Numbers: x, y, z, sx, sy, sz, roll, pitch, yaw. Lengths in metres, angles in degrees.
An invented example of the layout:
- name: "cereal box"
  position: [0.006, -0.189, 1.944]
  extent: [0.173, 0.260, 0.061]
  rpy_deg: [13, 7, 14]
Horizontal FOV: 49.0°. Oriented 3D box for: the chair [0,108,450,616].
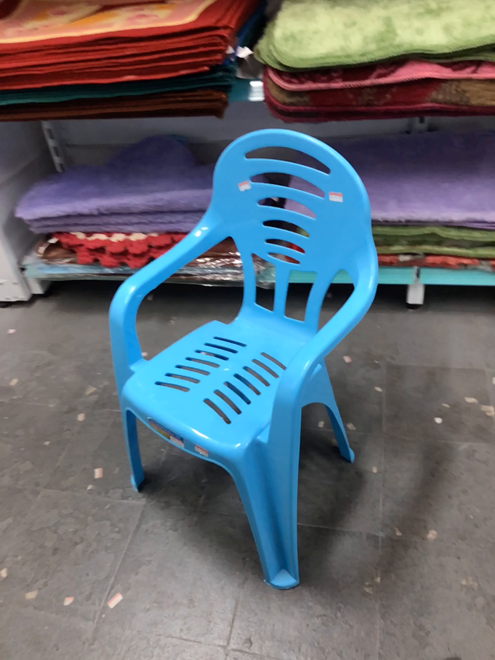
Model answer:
- name: "chair"
  position: [-0.006, 0.020, 0.803]
  extent: [0.401, 0.516, 0.392]
  rpy_deg: [22, 48, 33]
